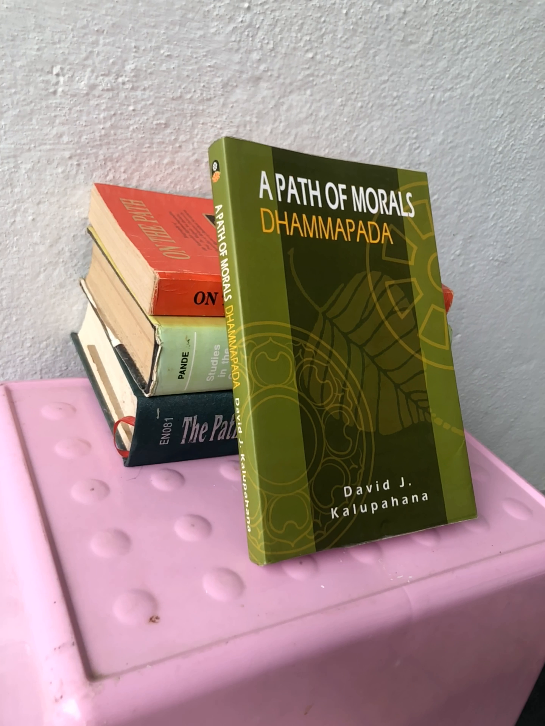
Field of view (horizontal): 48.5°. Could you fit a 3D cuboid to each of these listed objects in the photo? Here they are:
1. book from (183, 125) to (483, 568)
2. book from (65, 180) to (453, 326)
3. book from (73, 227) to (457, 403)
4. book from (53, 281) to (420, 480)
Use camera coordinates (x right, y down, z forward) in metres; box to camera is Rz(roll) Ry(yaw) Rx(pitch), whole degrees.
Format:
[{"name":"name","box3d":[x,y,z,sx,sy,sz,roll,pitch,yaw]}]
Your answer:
[{"name":"book","box3d":[0.036,-0.011,0.338,0.150,0.210,0.040,-1,-9,-31]},{"name":"book","box3d":[-0.013,-0.076,0.407,0.211,0.030,0.160,-4,31,-30]},{"name":"book","box3d":[-0.010,-0.041,0.414,0.211,0.040,0.160,-3,31,-30]},{"name":"book","box3d":[-0.032,-0.002,0.431,0.211,0.050,0.160,-3,31,-29]}]
